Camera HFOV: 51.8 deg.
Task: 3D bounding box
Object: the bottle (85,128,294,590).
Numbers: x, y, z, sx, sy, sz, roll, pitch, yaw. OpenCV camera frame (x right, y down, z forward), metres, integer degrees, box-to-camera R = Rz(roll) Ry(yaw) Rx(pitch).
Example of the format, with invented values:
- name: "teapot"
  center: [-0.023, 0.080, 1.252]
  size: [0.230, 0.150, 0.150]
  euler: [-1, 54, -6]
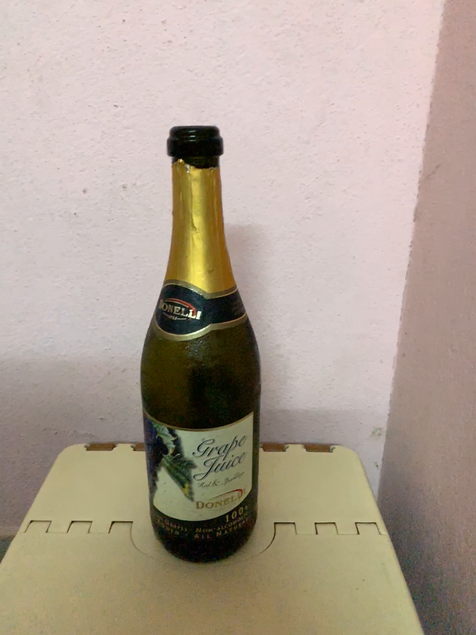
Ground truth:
- name: "bottle"
  center: [-0.027, 0.027, 0.319]
  size: [0.090, 0.279, 0.070]
  euler: [13, 25, 30]
